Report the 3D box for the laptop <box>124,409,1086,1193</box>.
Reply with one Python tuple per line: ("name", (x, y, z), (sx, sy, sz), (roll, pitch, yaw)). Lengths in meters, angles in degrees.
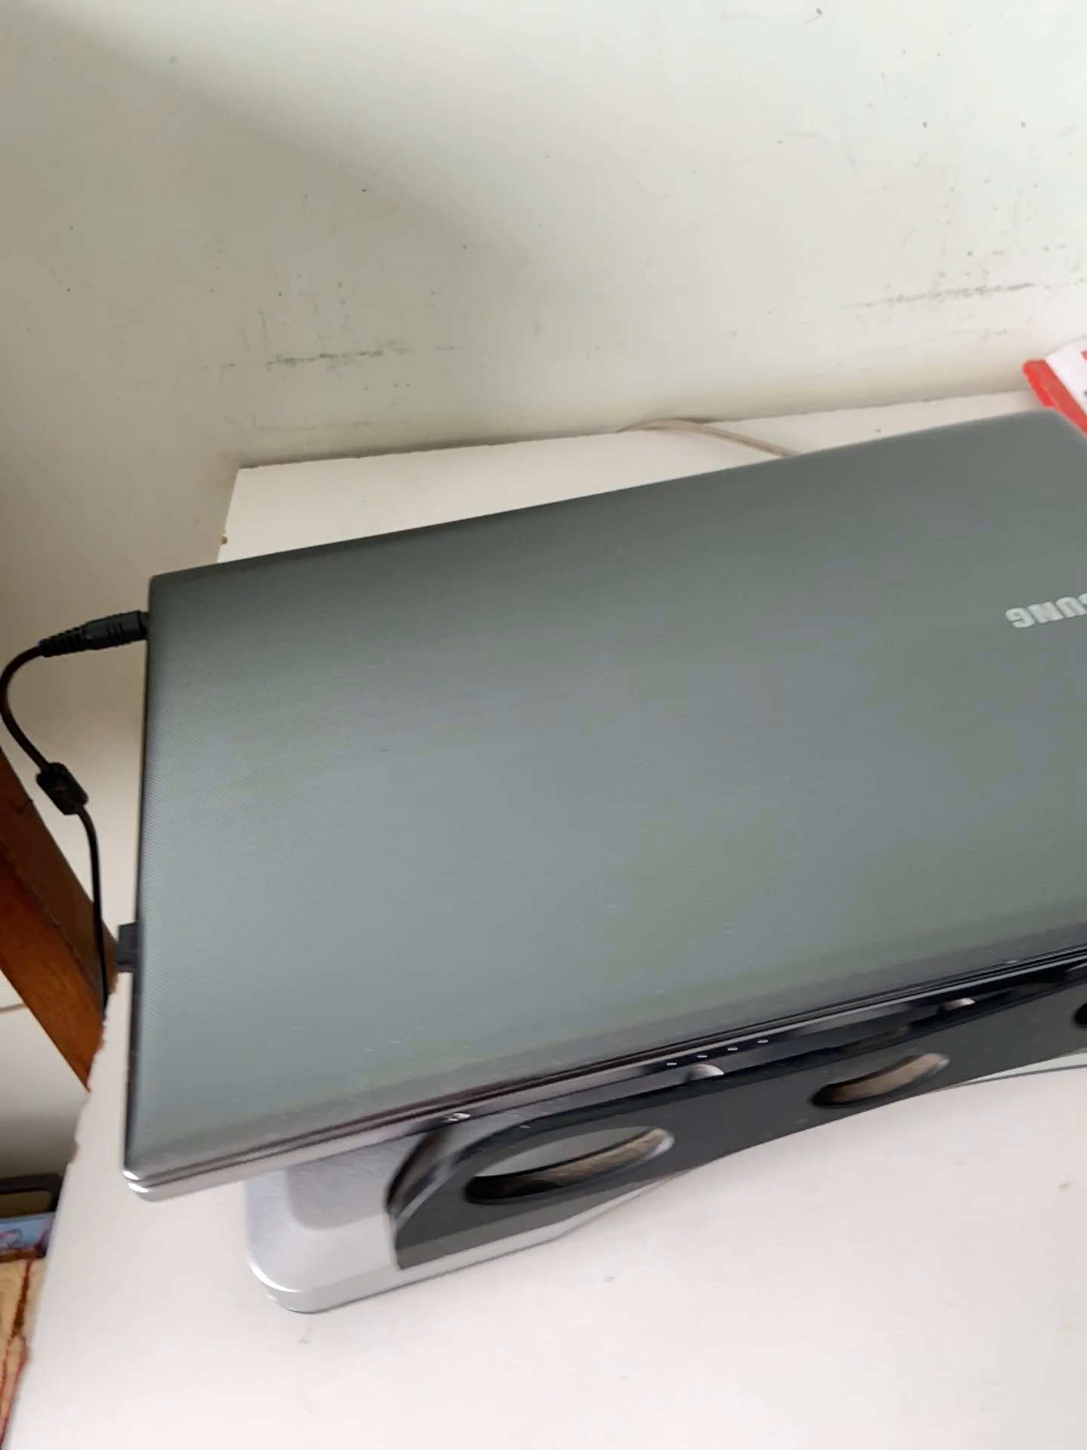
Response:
("laptop", (0.057, -0.011, 0.368), (0.373, 0.005, 0.237), (-12, 45, -6))
